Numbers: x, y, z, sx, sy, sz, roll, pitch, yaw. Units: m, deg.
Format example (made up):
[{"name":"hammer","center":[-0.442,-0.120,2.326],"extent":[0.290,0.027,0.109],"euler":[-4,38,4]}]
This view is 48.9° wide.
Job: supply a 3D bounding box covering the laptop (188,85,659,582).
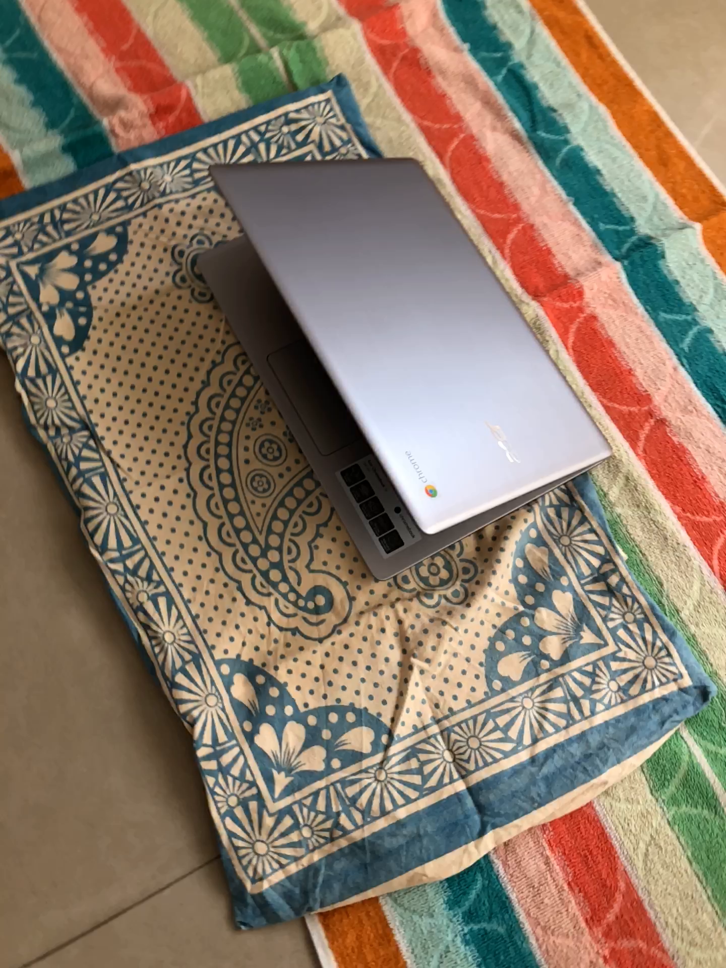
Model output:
[{"name":"laptop","center":[0.036,-0.123,0.642],"extent":[0.222,0.105,0.320],"euler":[-27,76,-10]}]
